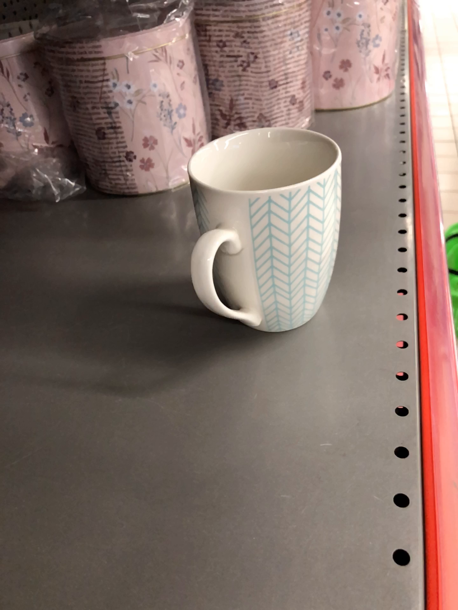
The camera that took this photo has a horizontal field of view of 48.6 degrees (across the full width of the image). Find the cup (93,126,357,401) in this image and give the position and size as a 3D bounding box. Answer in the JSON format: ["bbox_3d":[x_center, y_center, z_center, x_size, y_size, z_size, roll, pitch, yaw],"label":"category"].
[{"bbox_3d":[0.006,-0.032,0.303,0.093,0.096,0.120,19,46,28],"label":"cup"}]
